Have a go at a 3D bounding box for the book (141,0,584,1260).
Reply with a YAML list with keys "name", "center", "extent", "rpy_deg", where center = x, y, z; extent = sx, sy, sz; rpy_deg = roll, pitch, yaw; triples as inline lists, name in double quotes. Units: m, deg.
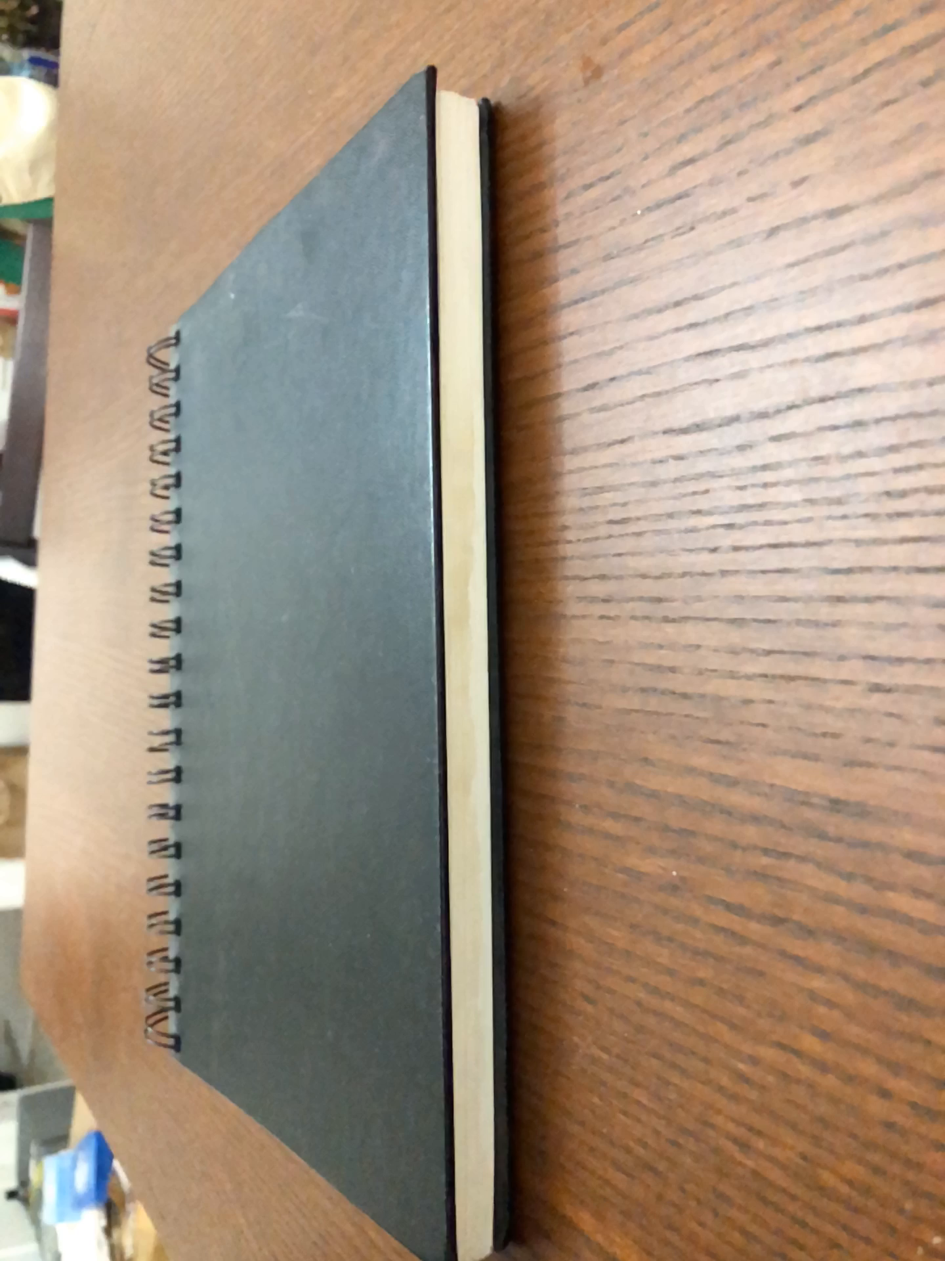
- name: "book"
  center: [-0.048, 0.010, 0.291]
  extent: [0.201, 0.030, 0.260]
  rpy_deg: [-10, 79, 57]
